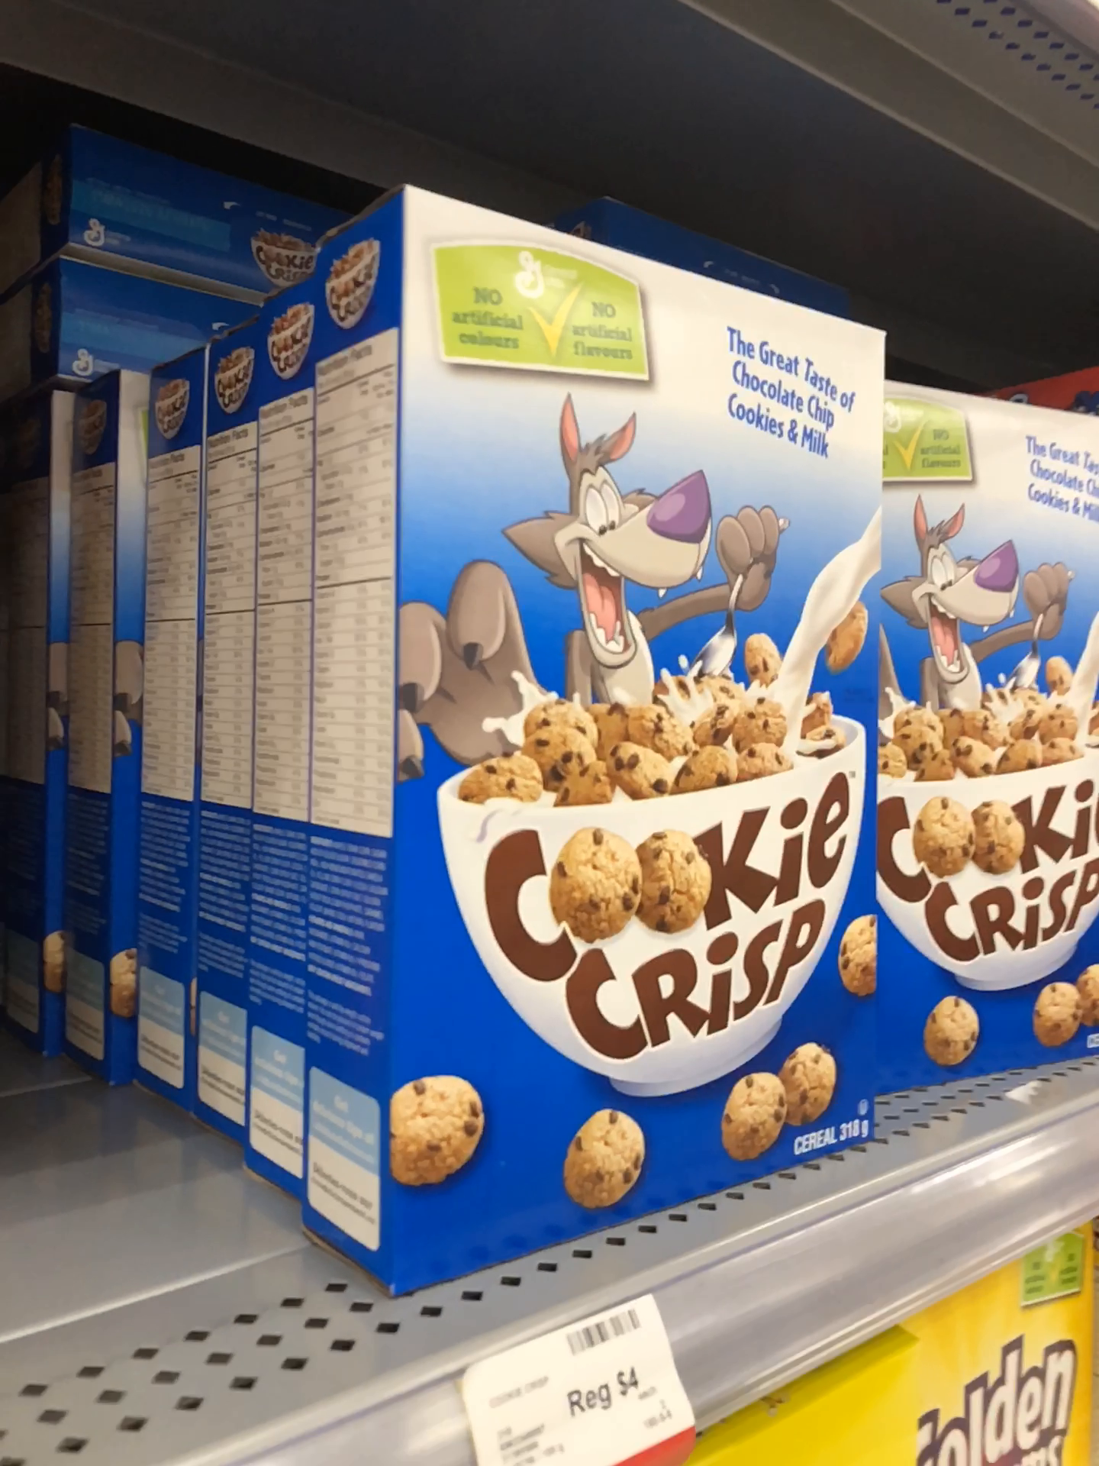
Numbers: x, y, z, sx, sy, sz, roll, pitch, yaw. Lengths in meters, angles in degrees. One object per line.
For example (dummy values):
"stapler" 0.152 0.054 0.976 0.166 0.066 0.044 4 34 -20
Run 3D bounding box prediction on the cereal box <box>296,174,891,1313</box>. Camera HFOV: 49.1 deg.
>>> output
"cereal box" 0.024 0.002 0.379 0.200 0.280 0.050 0 2 -40
